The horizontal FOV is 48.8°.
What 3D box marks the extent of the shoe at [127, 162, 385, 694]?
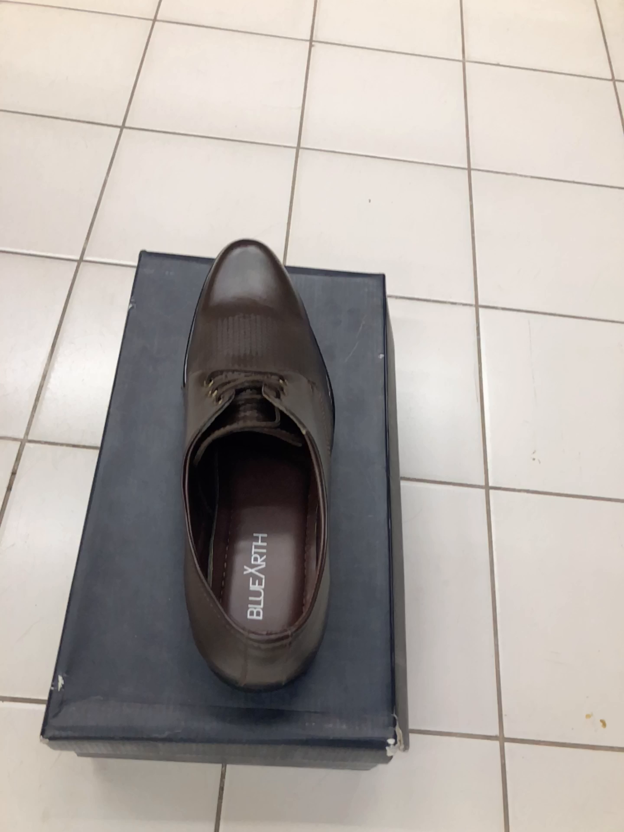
[{"bbox_3d":[-0.032,-0.003,0.409,0.110,0.100,0.301,1,62,-5],"label":"shoe"}]
